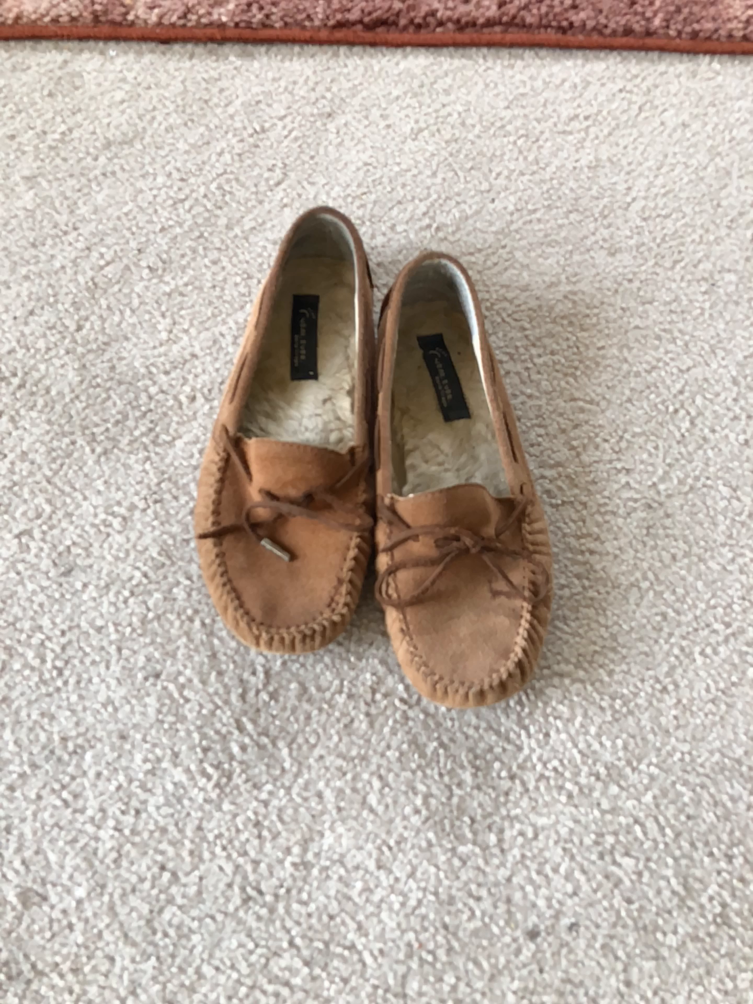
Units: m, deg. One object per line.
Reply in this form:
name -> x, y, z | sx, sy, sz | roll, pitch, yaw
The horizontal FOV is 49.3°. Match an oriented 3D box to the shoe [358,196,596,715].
shoe -> 0.043, -0.030, 0.443 | 0.098, 0.068, 0.274 | 0, 69, -4

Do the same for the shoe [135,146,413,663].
shoe -> -0.046, -0.058, 0.447 | 0.105, 0.068, 0.270 | 6, 69, -2
